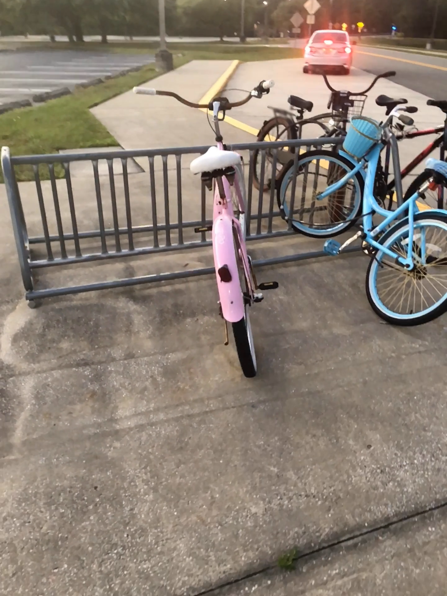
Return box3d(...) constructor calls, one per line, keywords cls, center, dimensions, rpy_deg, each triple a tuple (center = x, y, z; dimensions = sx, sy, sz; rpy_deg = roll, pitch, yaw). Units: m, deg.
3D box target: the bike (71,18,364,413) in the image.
box3d(cls="bike", center=(-0.001, -0.554, 2.322), dimensions=(0.838, 1.116, 1.663), rpy_deg=(1, 34, 0))
